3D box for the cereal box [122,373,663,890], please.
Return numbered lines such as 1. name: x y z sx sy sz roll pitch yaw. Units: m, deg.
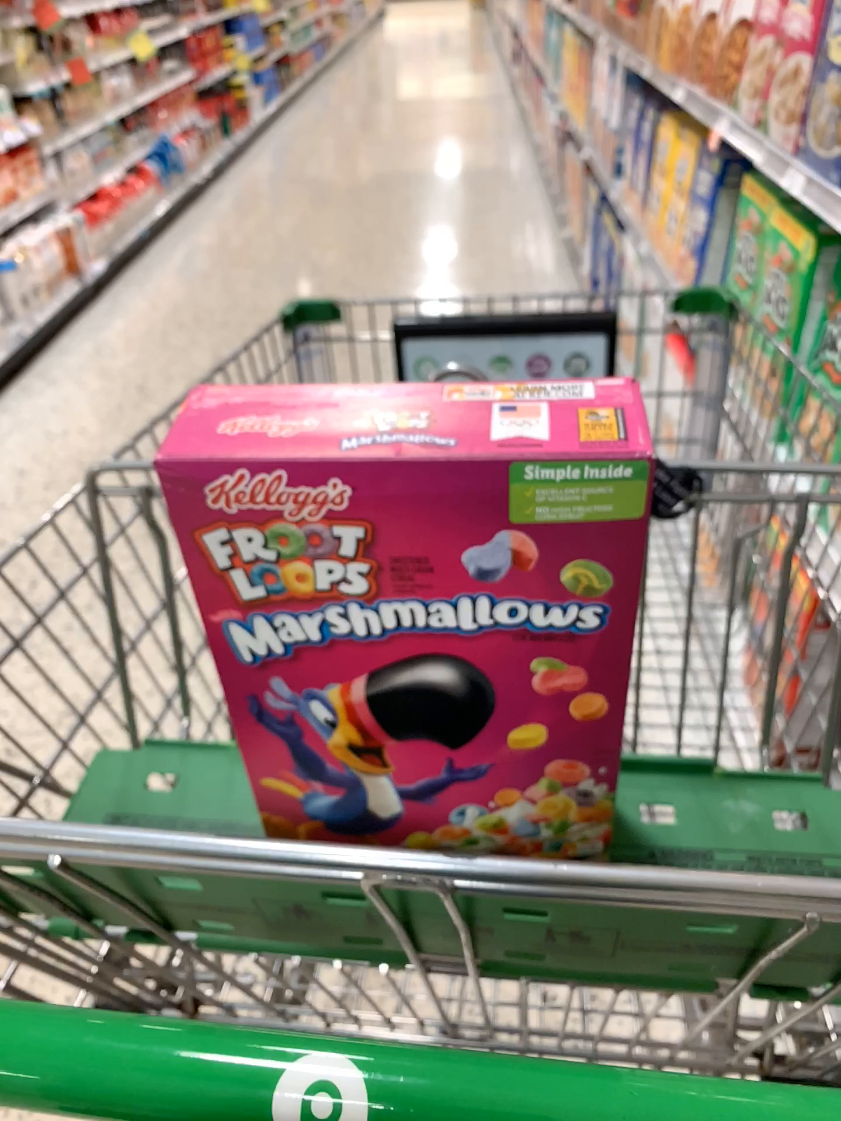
1. cereal box: -0.001 0.053 0.436 0.200 0.287 0.061 0 40 7
